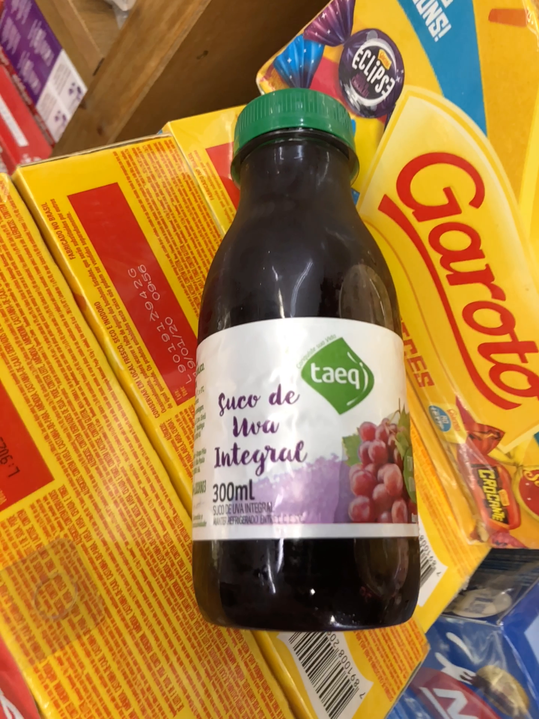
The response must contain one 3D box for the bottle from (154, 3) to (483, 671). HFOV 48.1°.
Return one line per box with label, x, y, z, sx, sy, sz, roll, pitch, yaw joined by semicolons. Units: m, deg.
bottle;0.012;-0.008;0.184;0.070;0.050;0.170;12;68;-34
